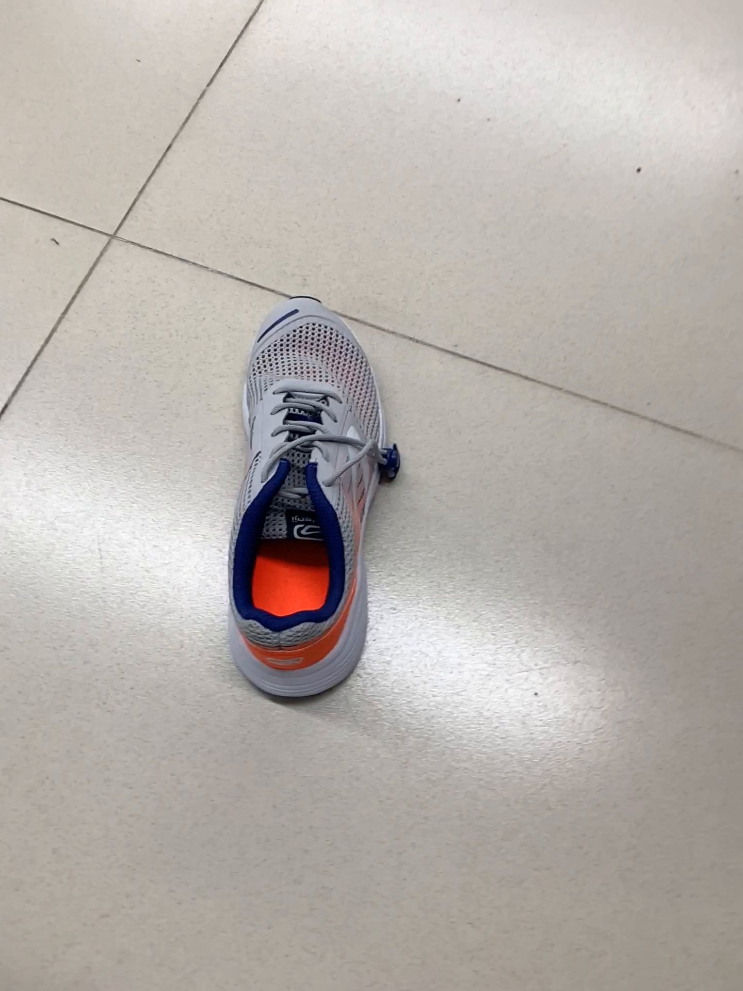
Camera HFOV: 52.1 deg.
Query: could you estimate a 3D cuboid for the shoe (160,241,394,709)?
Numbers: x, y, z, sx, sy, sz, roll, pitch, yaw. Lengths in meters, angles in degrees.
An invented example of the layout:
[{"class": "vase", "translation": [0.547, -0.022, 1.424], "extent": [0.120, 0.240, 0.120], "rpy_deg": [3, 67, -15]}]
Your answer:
[{"class": "shoe", "translation": [-0.045, -0.012, 0.448], "extent": [0.100, 0.100, 0.250], "rpy_deg": [4, 68, -2]}]
